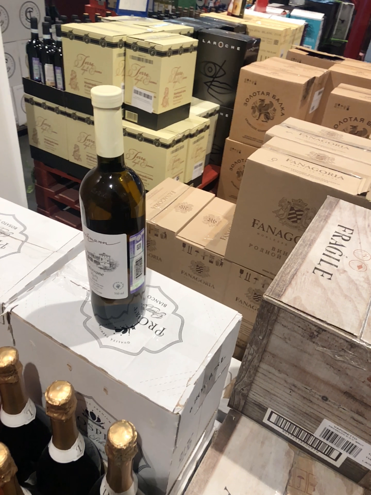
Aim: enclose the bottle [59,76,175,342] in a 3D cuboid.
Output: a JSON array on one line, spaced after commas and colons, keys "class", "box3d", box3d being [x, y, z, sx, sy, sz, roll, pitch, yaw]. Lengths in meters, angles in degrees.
[{"class": "bottle", "box3d": [-0.079, -0.030, 0.466, 0.080, 0.288, 0.073, 33, 43, 30]}]
